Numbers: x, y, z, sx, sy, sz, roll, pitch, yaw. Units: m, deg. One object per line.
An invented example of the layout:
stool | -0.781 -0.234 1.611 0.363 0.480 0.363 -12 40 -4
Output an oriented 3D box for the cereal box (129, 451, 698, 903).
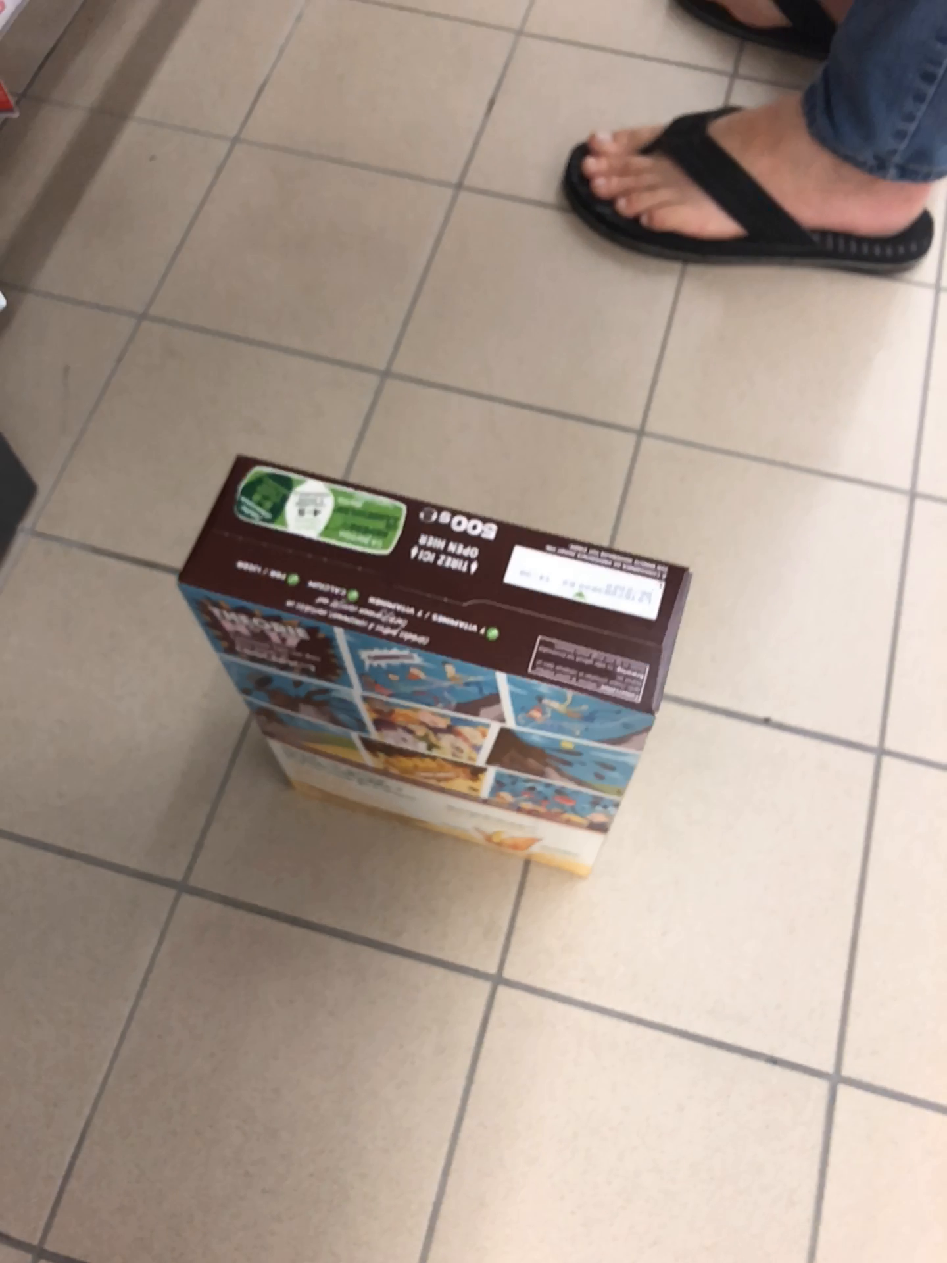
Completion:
cereal box | -0.019 0.045 0.522 0.200 0.289 0.070 14 66 8

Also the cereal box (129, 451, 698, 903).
cereal box | -0.019 0.045 0.522 0.200 0.289 0.070 14 66 8
